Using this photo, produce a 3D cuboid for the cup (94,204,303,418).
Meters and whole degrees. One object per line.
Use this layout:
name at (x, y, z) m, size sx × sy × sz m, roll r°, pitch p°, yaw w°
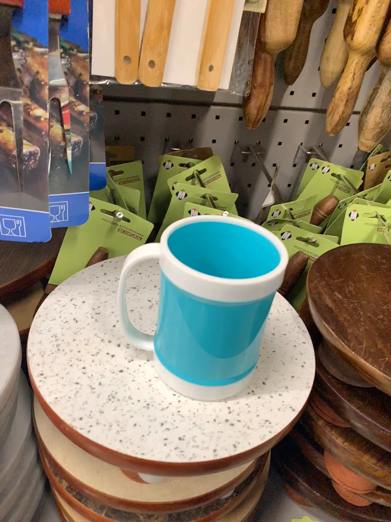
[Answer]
cup at (-0.003, 0.033, 0.274) m, size 0.110 × 0.110 × 0.080 m, roll 5°, pitch 33°, yaw -3°
